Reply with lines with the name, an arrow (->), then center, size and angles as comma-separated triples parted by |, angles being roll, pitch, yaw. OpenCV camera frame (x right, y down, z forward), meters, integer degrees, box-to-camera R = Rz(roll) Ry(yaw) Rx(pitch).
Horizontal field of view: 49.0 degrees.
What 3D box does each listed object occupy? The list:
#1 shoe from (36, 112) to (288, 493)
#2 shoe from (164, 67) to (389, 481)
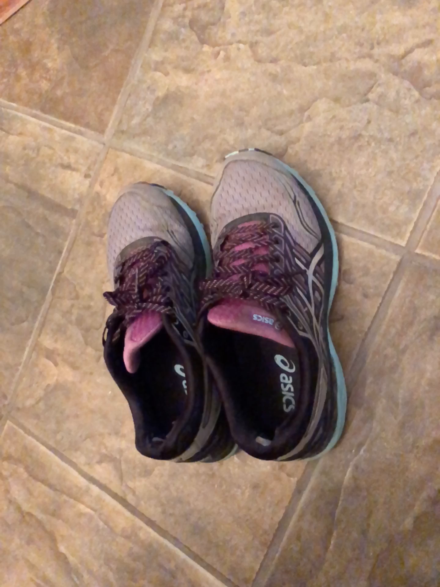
shoe -> -0.051, 0.008, 0.436 | 0.110, 0.120, 0.280 | -22, 78, 22
shoe -> 0.050, -0.009, 0.399 | 0.110, 0.120, 0.280 | -12, 82, 24
